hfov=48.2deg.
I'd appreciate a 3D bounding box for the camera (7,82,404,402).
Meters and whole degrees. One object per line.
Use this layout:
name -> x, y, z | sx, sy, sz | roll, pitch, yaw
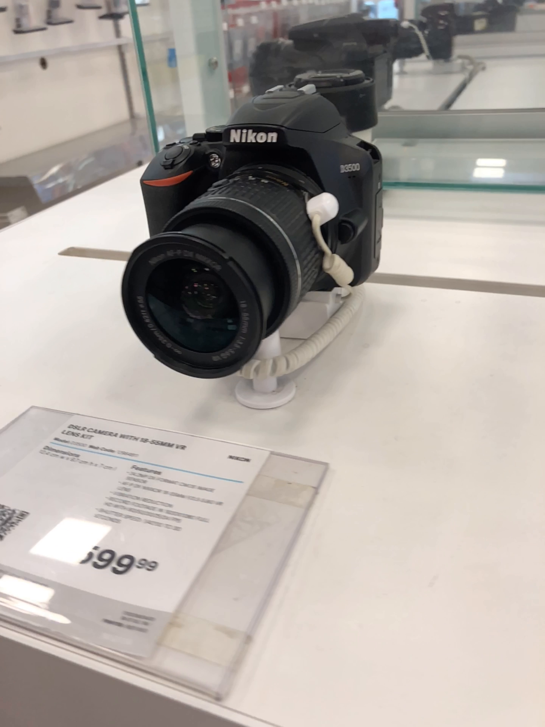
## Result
camera -> -0.013, -0.077, 0.311 | 0.120, 0.100, 0.171 | 8, 32, 22
